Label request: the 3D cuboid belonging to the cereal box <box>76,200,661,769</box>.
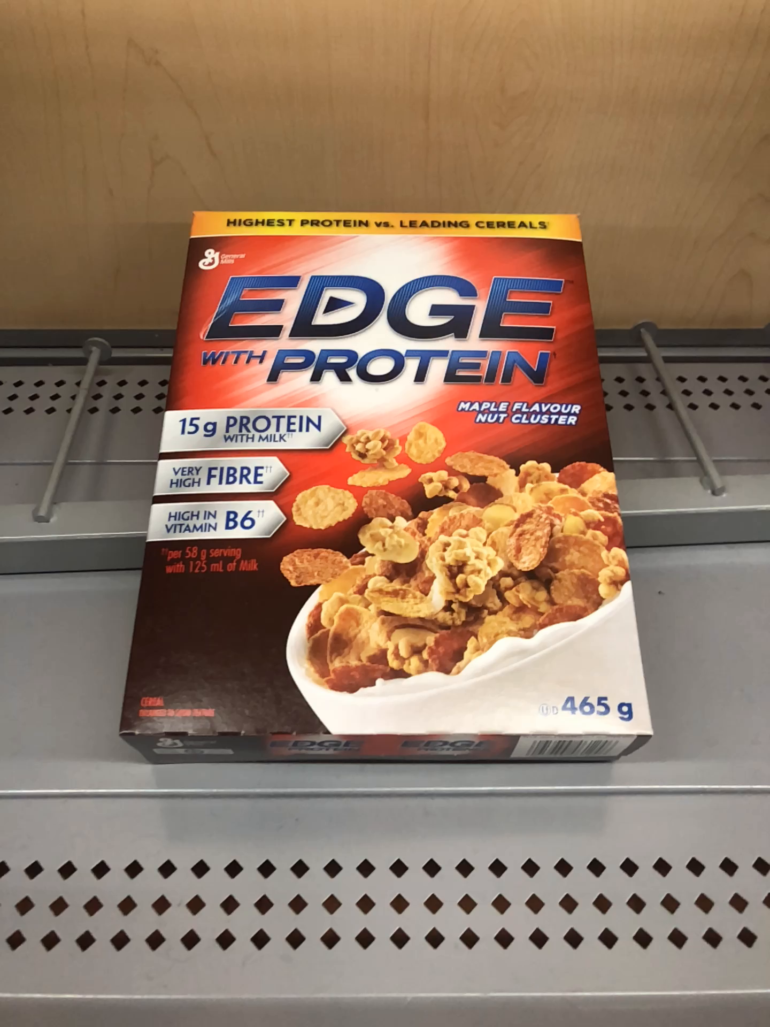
[{"bbox_3d":[-0.005,-0.025,0.386,0.200,0.070,0.261,0,60,0],"label":"cereal box"}]
